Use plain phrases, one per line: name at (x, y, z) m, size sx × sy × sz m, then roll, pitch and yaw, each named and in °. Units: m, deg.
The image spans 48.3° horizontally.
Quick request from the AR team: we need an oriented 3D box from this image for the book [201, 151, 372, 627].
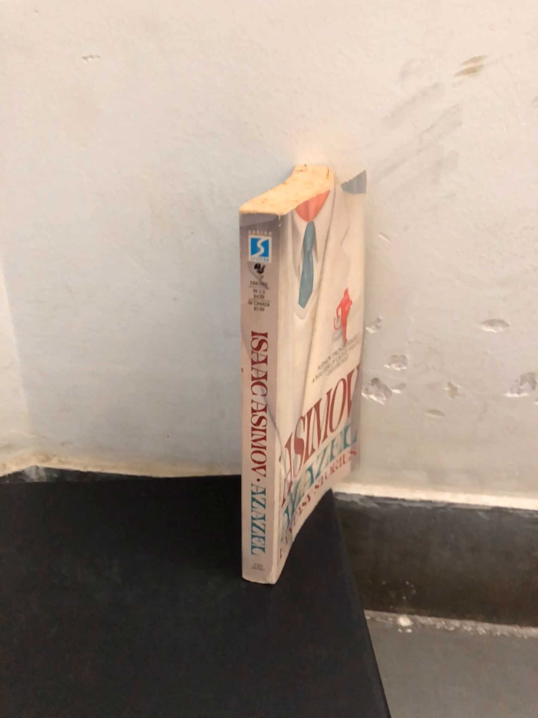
book at (0.021, 0.004, 0.304) m, size 0.030 × 0.189 × 0.151 m, roll 6°, pitch 27°, yaw 19°
